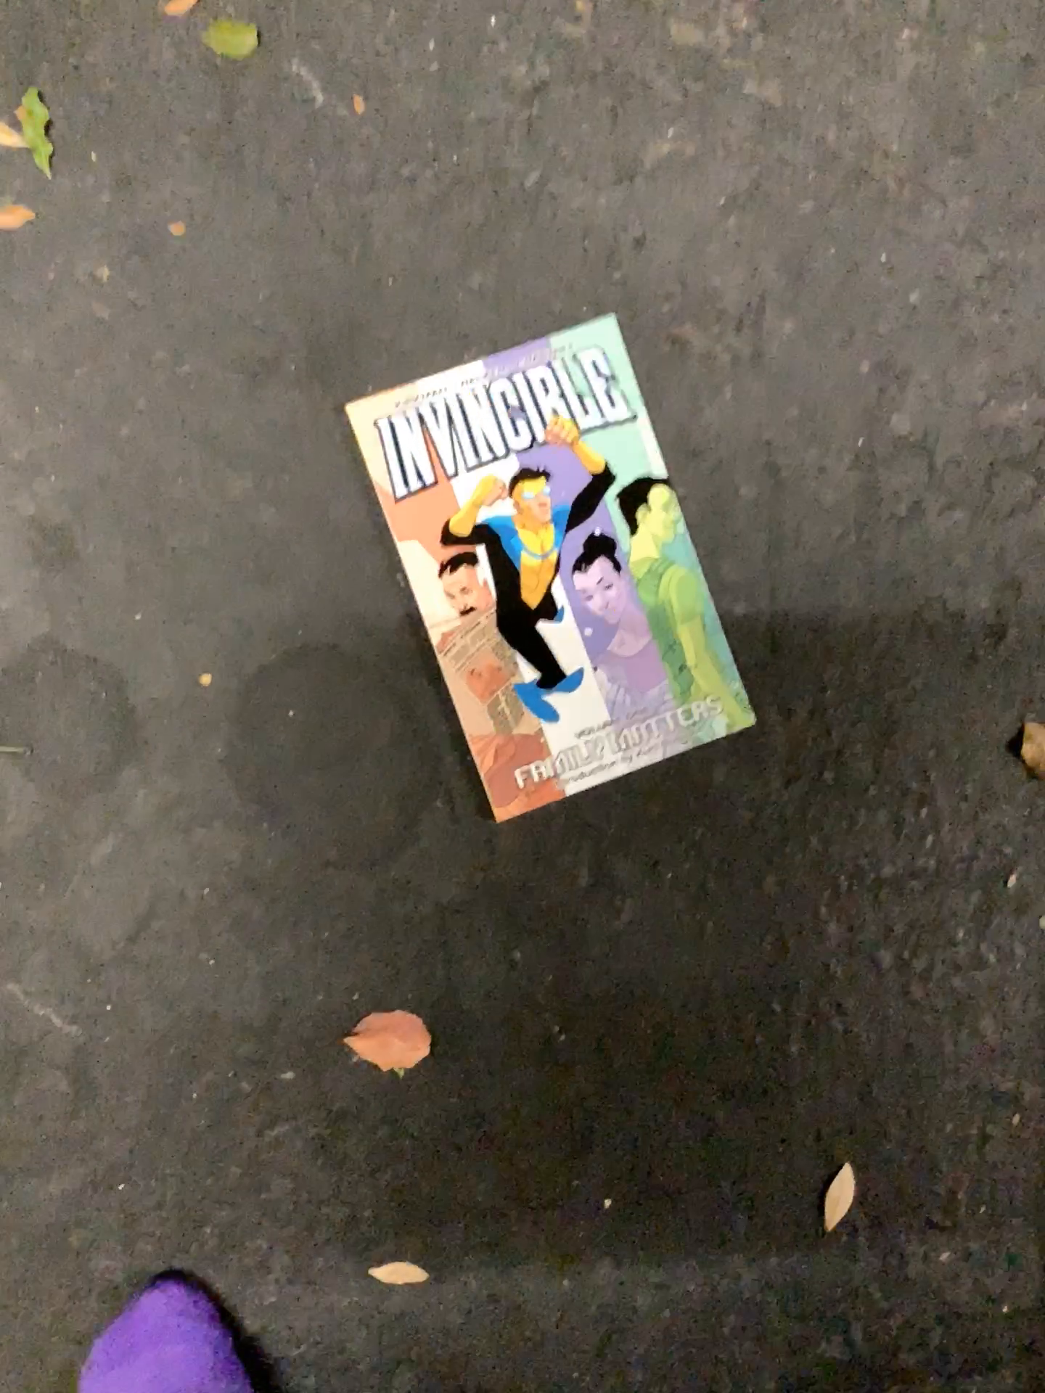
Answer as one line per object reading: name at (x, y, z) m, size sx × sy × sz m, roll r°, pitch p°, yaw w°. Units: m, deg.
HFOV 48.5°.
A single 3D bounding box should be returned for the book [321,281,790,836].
book at (0.020, -0.081, 0.666) m, size 0.180 × 0.020 × 0.270 m, roll -22°, pitch 90°, yaw -7°
